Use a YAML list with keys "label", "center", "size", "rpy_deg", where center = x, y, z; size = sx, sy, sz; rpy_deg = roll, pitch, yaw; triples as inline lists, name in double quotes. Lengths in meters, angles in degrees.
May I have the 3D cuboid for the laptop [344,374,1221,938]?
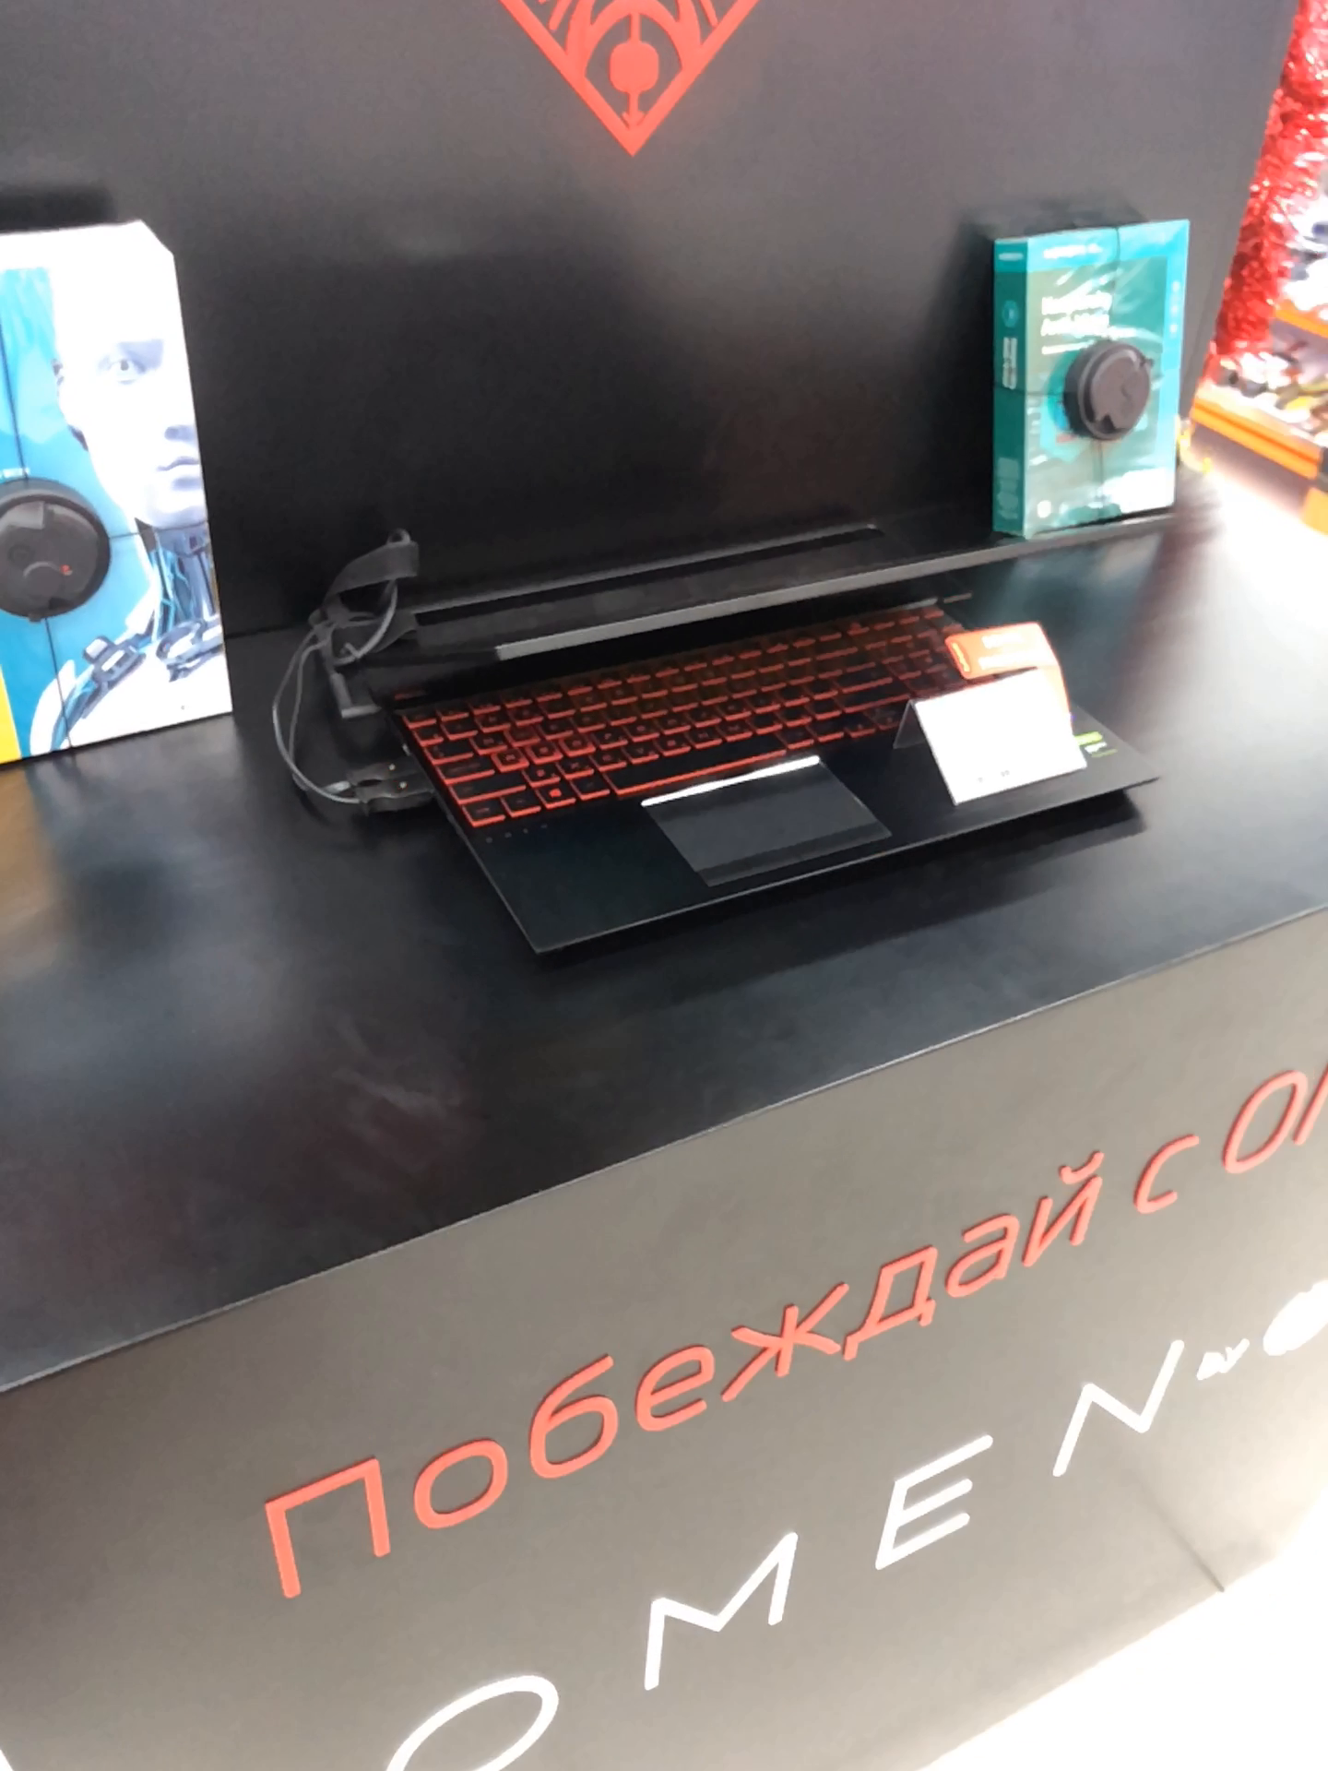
- label: "laptop"
  center: [0.049, -0.136, 0.744]
  size: [0.351, 0.121, 0.231]
  rpy_deg: [-15, 43, -20]
